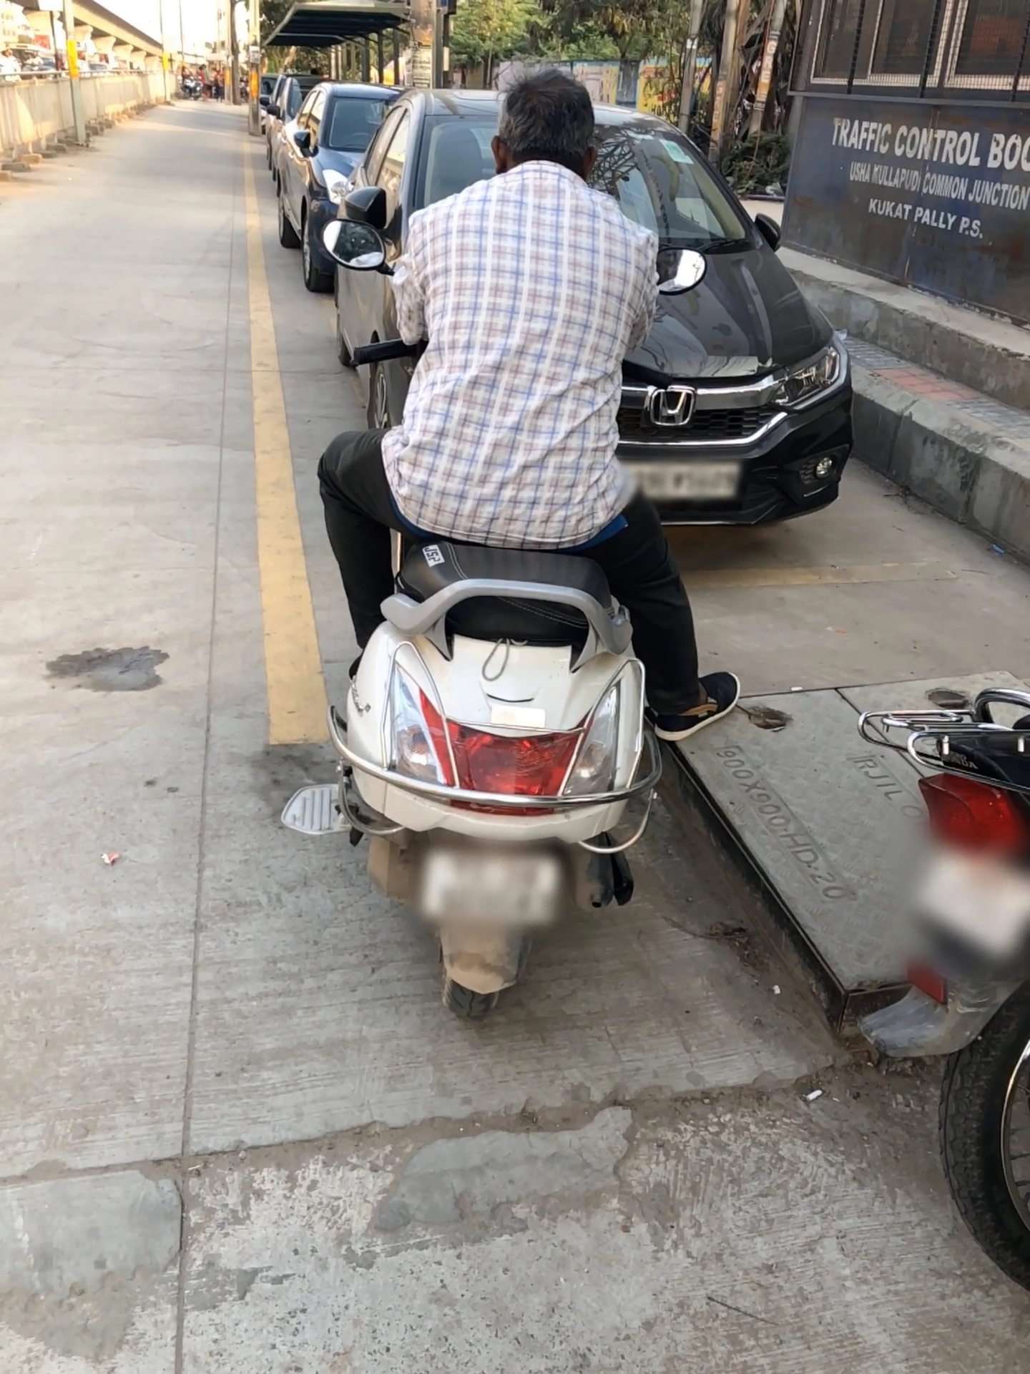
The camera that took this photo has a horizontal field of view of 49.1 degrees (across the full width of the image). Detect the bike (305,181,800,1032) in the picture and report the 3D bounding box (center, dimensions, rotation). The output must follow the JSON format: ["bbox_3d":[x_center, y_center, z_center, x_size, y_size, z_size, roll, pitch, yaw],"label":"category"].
[{"bbox_3d":[0.037,-0.319,2.286,0.640,0.858,1.609,2,36,-2],"label":"bike"}]
